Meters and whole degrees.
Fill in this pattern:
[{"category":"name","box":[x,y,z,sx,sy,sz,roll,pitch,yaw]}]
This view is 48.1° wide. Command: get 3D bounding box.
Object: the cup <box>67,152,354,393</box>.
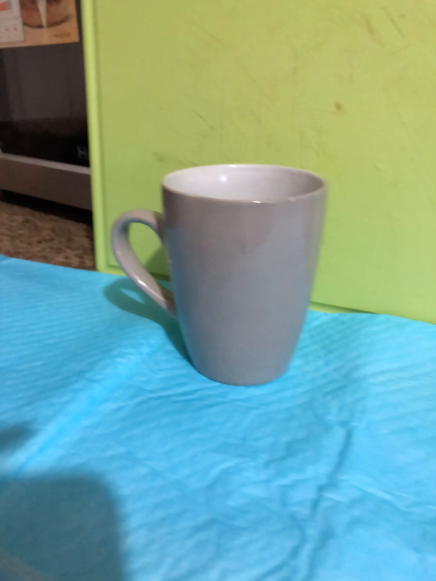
[{"category":"cup","box":[-0.001,-0.013,0.235,0.110,0.090,0.070,4,24,6]}]
